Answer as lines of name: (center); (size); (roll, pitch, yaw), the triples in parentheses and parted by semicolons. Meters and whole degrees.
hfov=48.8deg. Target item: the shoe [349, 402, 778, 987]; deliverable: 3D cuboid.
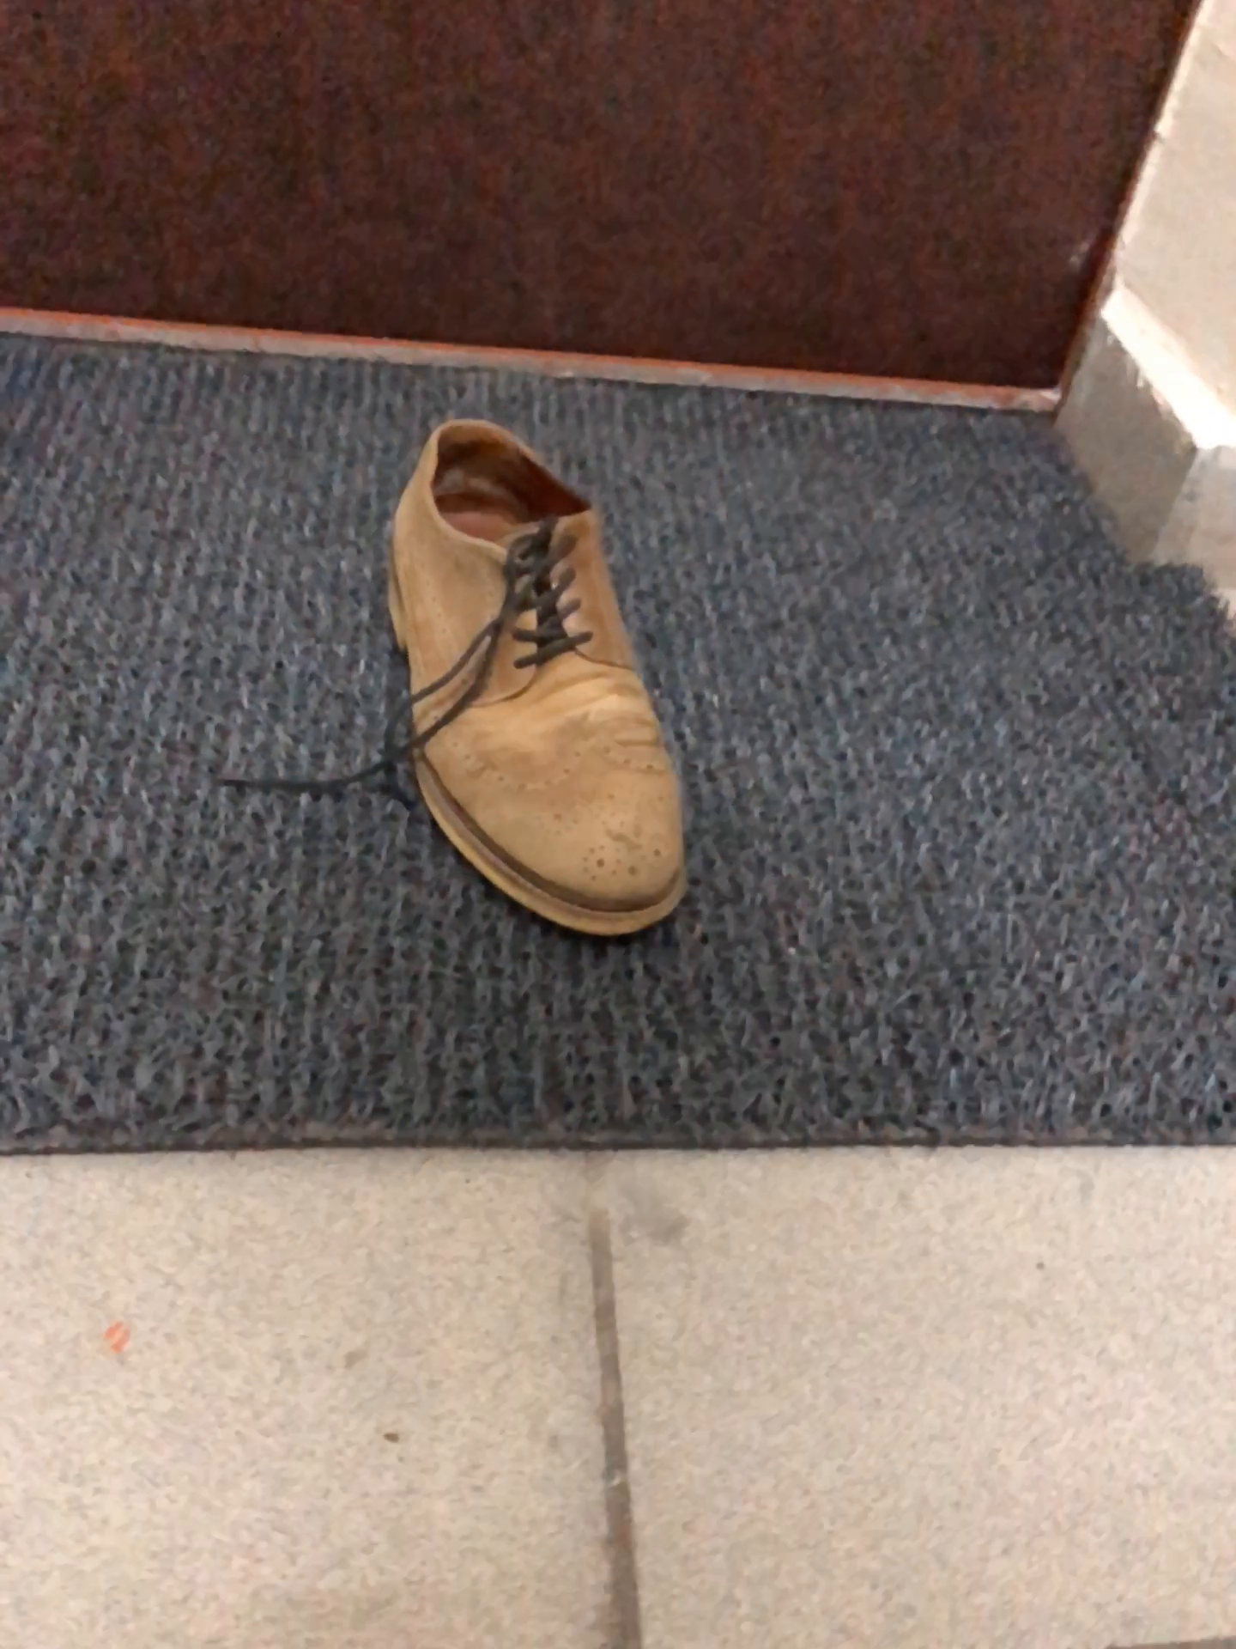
shoe: (-0.044, -0.079, 0.638); (0.110, 0.099, 0.302); (-8, 45, -18)
